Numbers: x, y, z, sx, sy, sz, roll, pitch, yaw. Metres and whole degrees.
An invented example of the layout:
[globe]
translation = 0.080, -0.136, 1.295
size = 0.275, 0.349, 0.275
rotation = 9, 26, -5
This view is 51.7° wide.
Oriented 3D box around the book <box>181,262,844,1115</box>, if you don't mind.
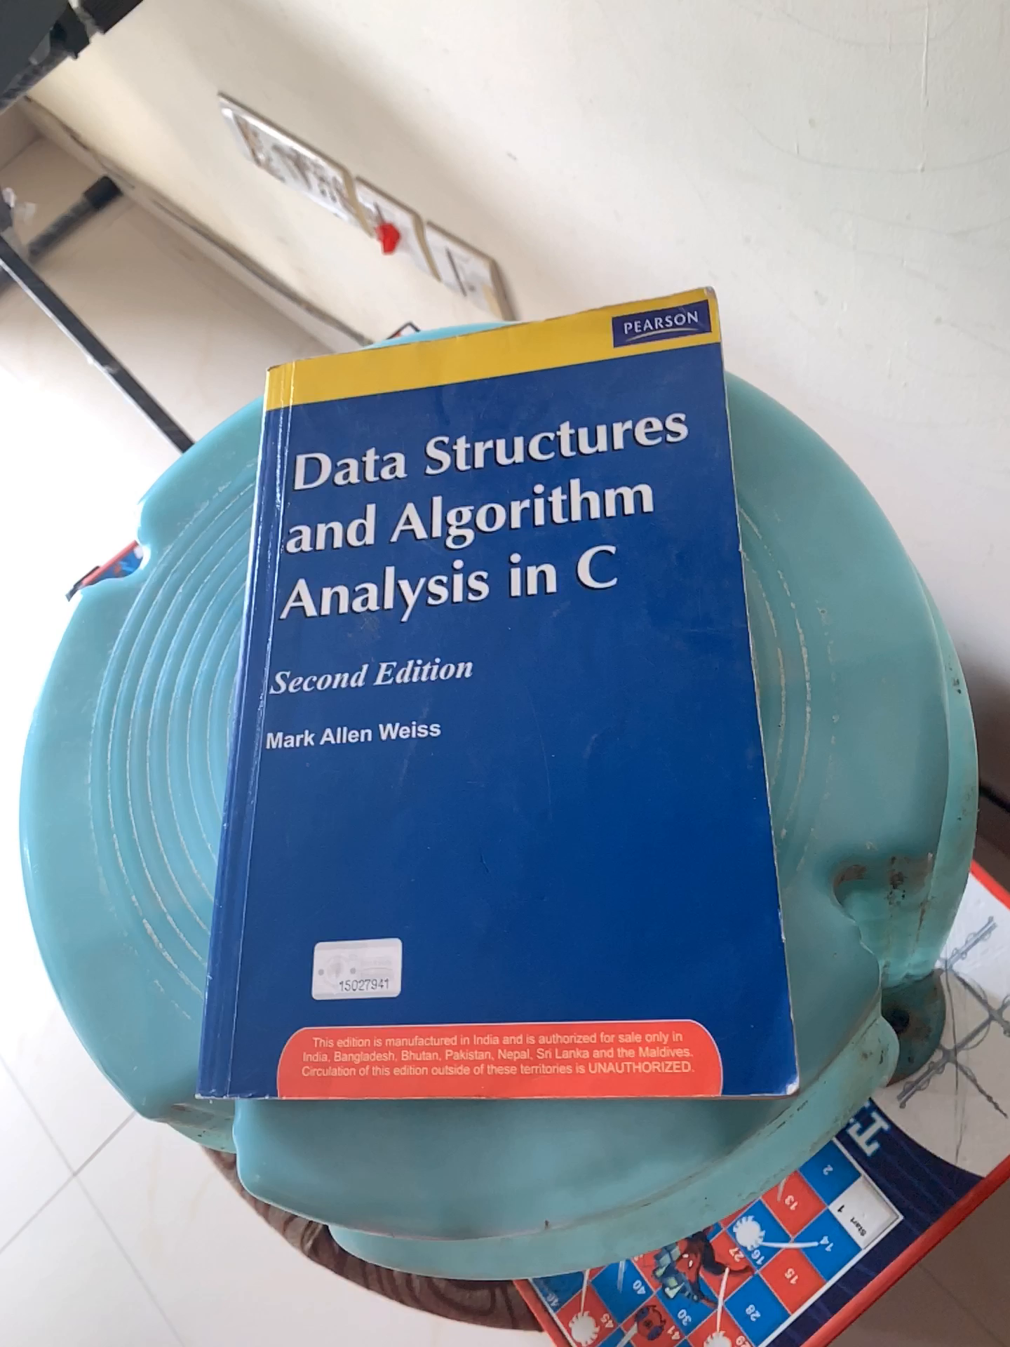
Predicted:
[book]
translation = -0.001, -0.003, 0.305
size = 0.160, 0.030, 0.241
rotation = -6, 67, 12
